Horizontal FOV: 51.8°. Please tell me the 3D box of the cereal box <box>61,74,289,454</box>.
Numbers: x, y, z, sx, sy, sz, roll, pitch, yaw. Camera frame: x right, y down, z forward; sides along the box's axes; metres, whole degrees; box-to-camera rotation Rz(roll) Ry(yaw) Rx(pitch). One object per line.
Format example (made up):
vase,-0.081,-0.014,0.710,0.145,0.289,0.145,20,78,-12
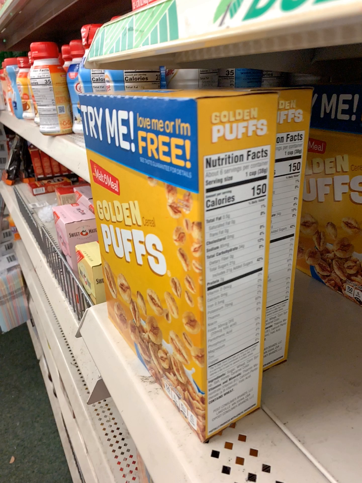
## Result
cereal box,-0.019,-0.004,0.284,0.060,0.219,0.191,-15,26,-28
